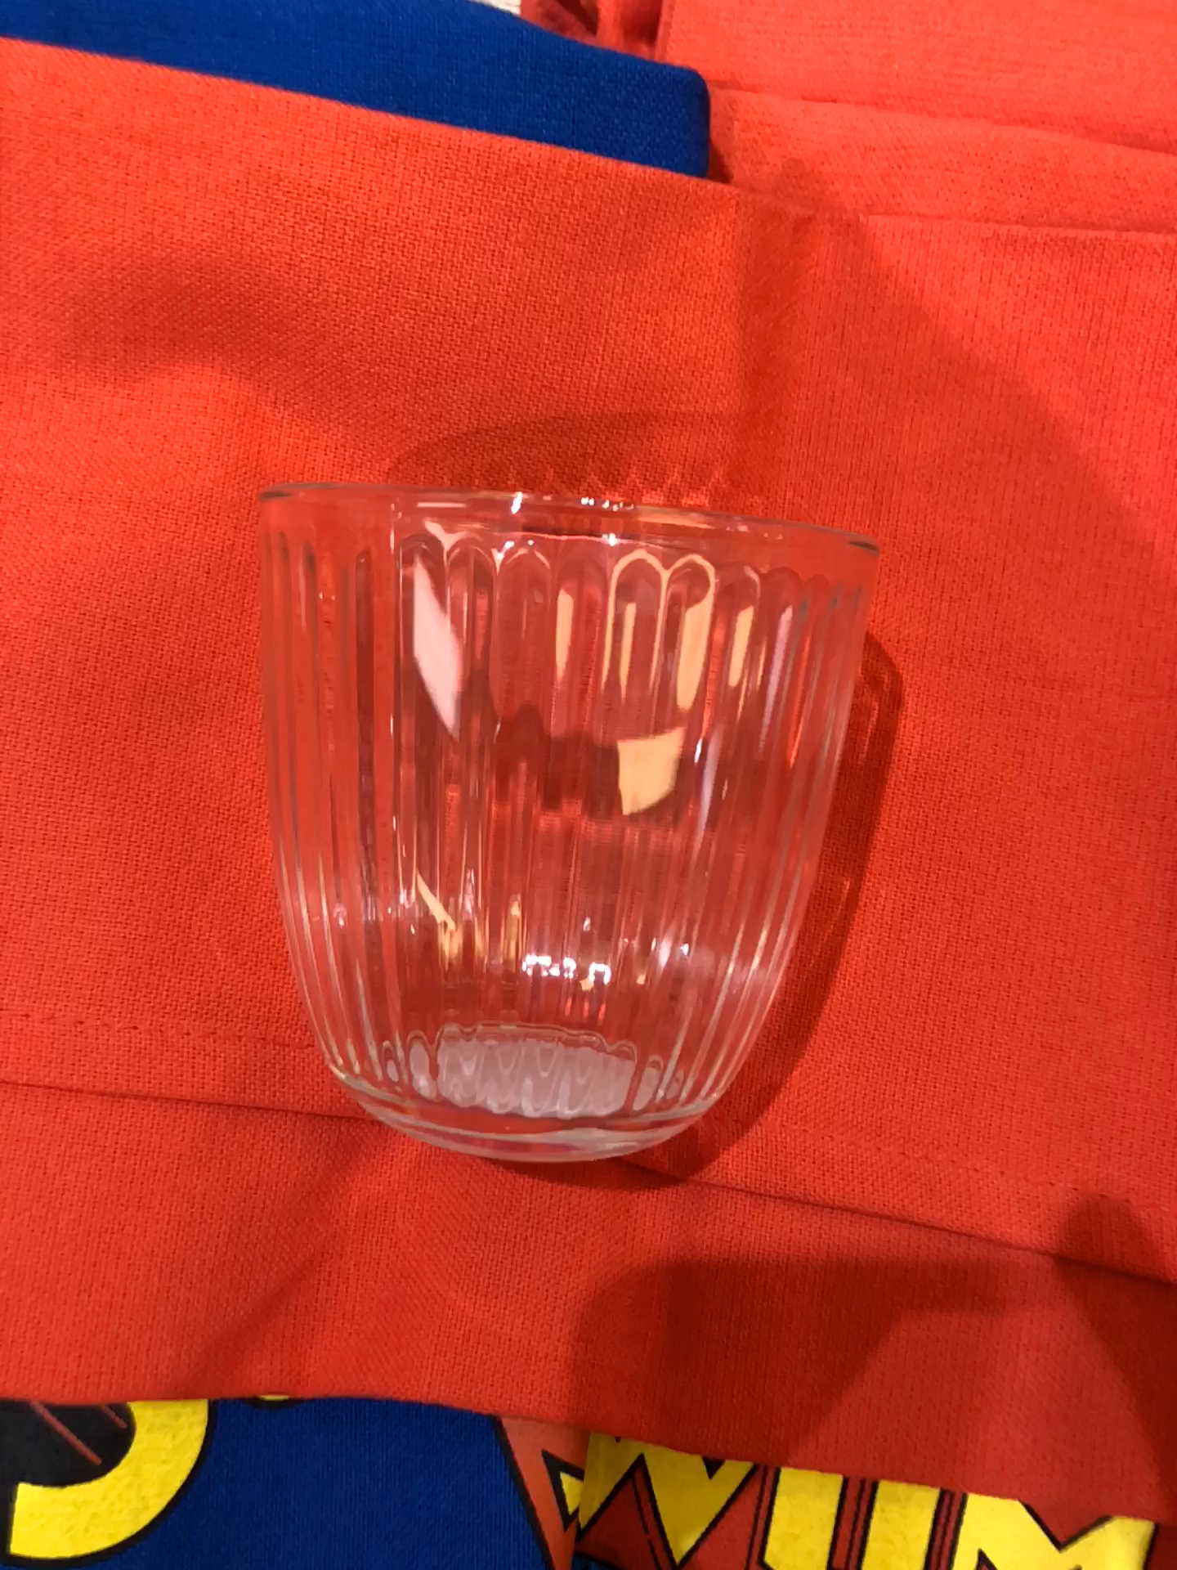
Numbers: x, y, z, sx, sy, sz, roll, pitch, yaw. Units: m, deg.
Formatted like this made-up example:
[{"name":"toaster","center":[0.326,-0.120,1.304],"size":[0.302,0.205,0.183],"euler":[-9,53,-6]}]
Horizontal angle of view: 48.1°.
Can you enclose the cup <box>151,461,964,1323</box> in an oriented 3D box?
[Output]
[{"name":"cup","center":[-0.006,0.009,0.173],"size":[0.080,0.060,0.090],"euler":[5,101,-3]}]
